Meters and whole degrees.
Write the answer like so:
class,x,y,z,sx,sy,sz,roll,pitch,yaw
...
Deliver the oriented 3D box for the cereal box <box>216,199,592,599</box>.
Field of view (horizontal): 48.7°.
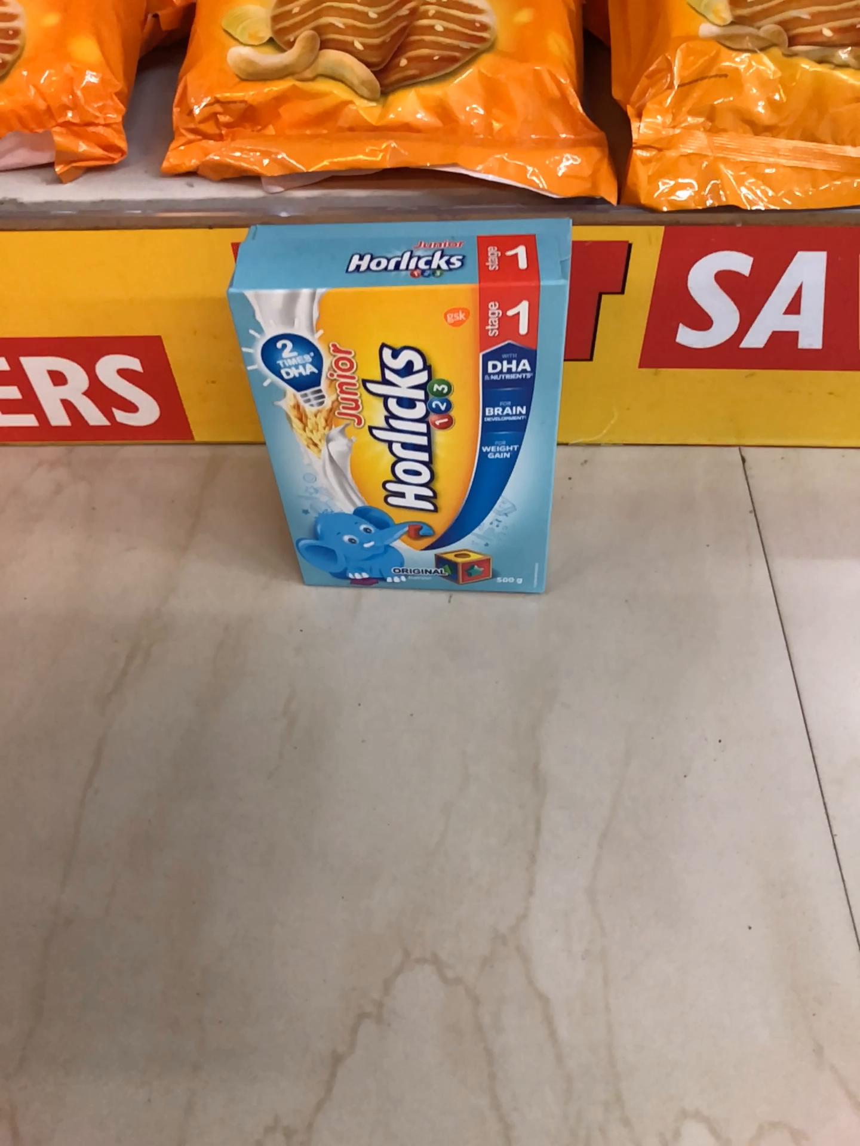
class,x,y,z,sx,sy,sz,roll,pitch,yaw
cereal box,-0.003,-0.070,0.445,0.140,0.199,0.050,3,53,6
